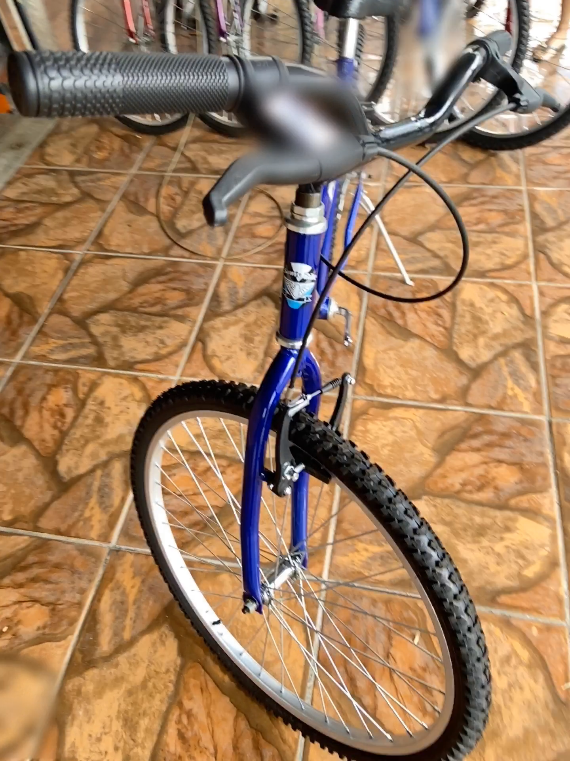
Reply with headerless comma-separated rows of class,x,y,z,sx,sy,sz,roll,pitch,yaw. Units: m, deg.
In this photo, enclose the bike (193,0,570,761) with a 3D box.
bike,0.258,-0.260,1.052,0.571,1.013,1.533,-5,53,4
